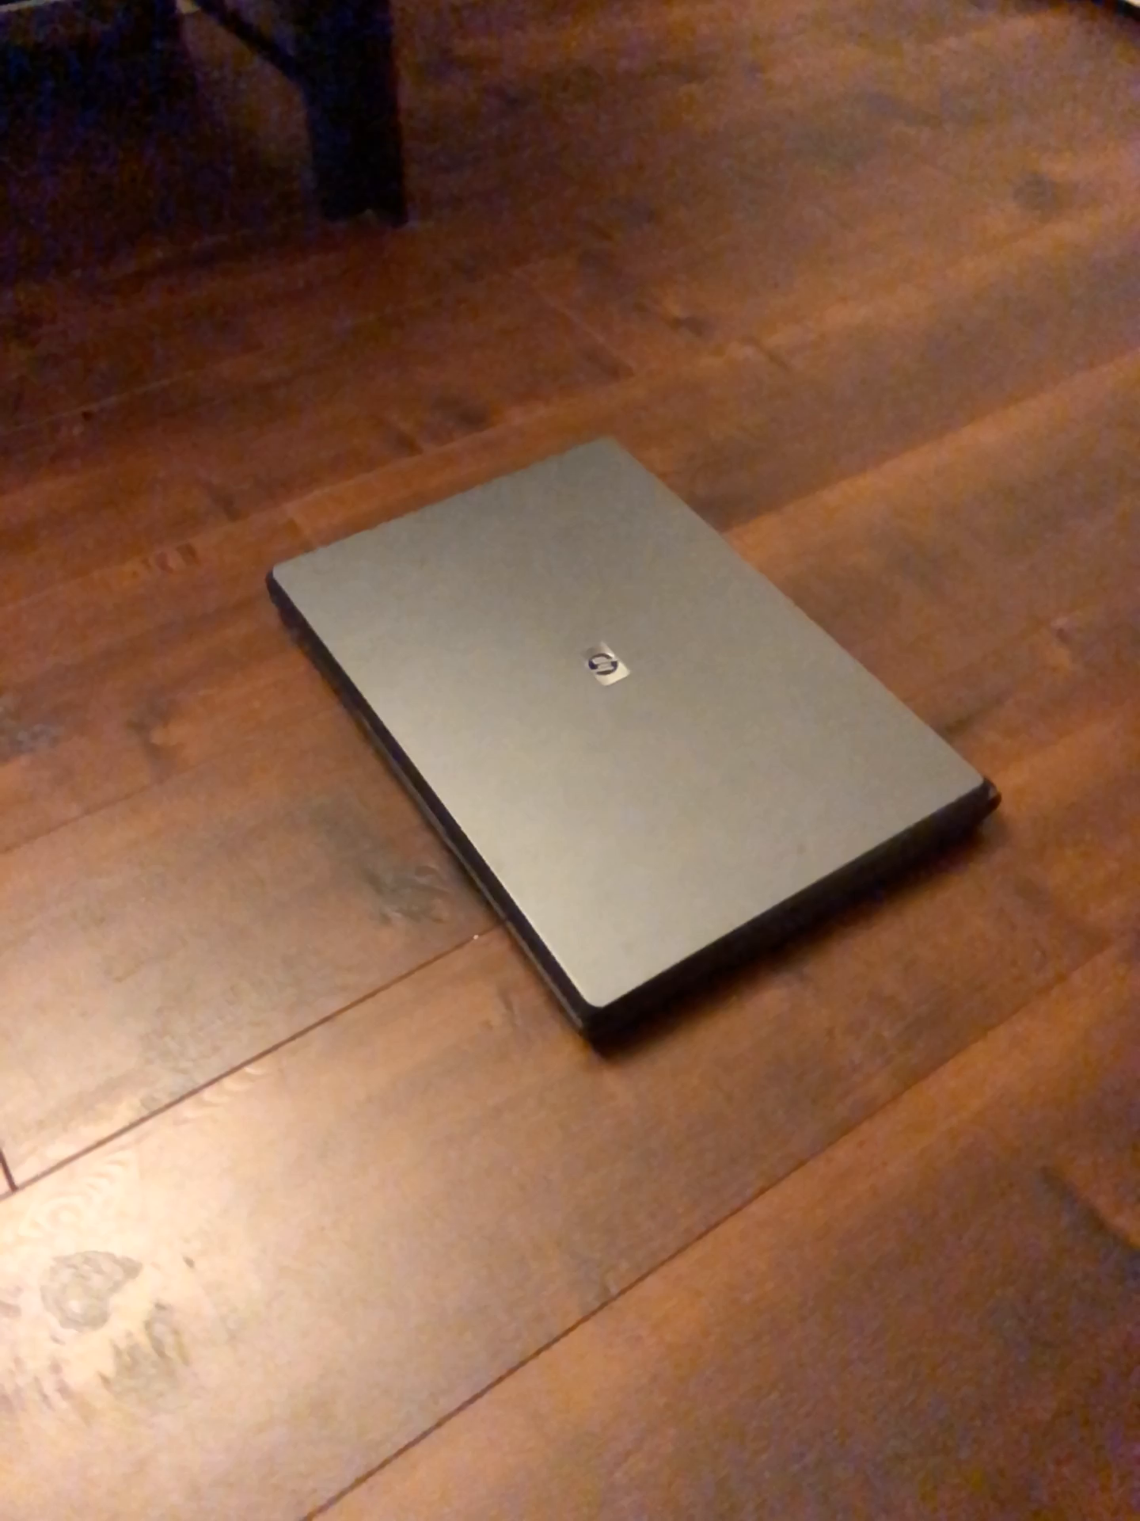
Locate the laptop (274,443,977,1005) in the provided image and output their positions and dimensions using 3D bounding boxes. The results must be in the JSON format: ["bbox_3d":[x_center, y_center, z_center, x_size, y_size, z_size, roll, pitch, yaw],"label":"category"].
[{"bbox_3d":[0.016,-0.045,0.637,0.216,0.005,0.311,-27,56,-21],"label":"laptop"}]
